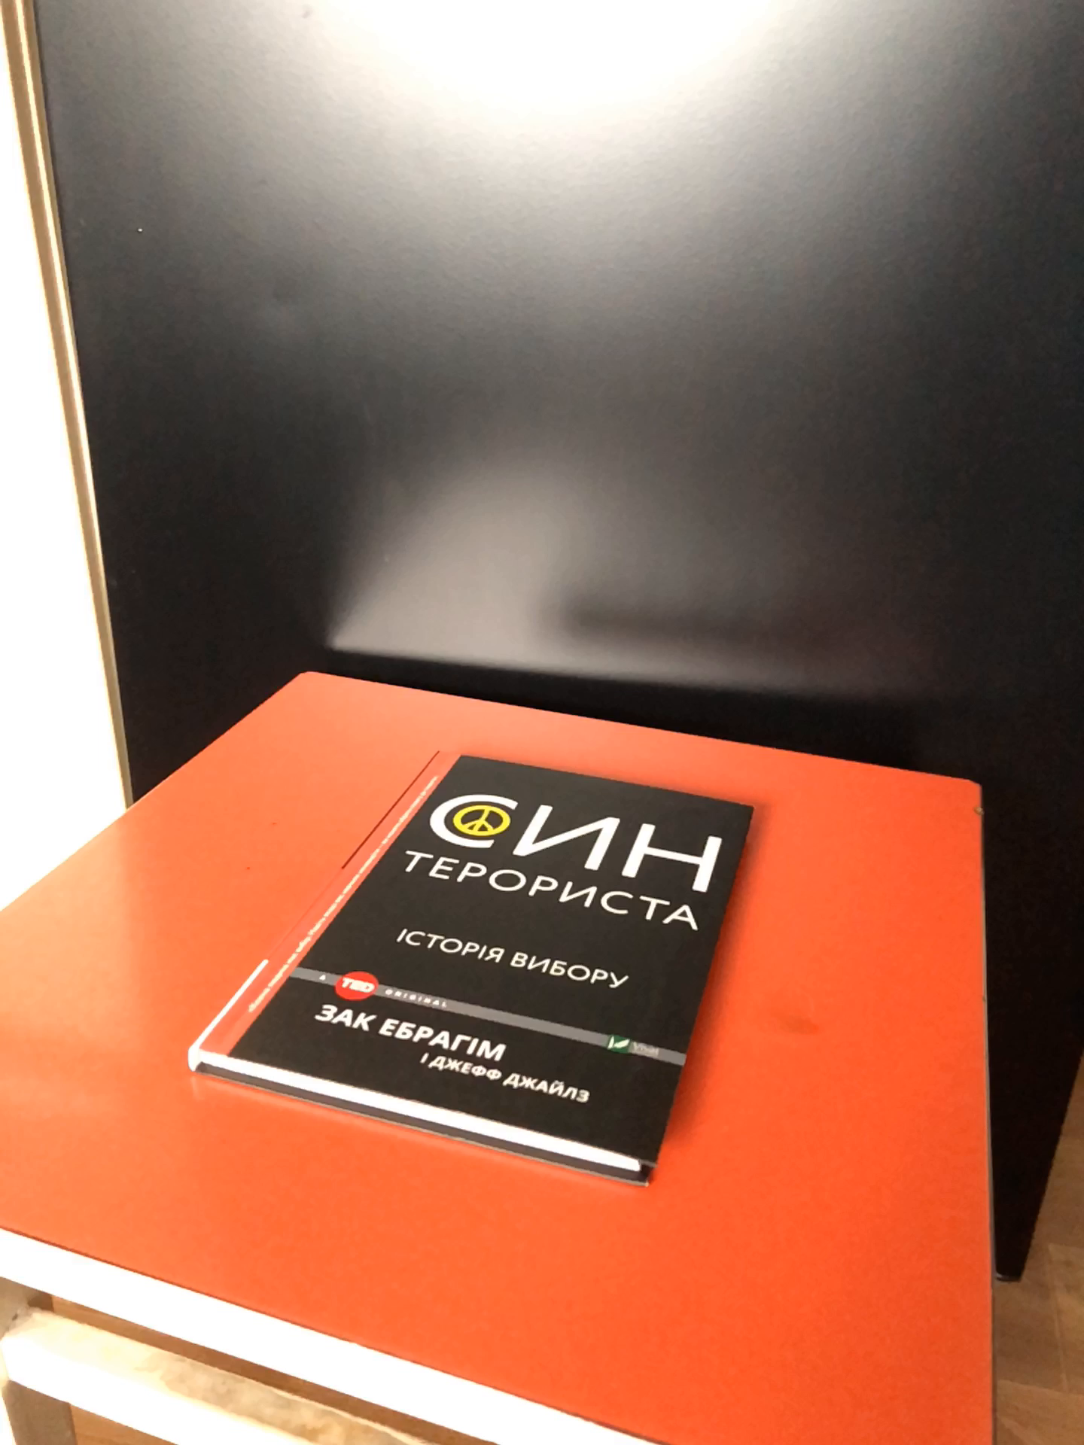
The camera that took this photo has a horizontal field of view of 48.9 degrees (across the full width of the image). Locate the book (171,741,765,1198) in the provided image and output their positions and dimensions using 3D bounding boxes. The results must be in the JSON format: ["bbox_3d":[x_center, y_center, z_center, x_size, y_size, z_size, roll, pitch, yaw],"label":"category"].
[{"bbox_3d":[-0.009,0.069,0.429,0.150,0.013,0.206,9,27,15],"label":"book"}]
